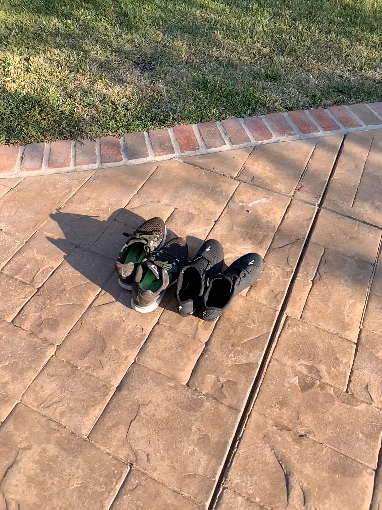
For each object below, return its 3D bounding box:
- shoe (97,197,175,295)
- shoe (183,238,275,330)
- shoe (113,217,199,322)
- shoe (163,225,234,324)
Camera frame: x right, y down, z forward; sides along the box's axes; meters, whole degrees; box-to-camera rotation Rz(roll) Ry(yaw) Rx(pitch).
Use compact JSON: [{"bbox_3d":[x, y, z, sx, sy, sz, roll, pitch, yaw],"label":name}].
[{"bbox_3d":[-0.162,-0.034,1.224,0.120,0.100,0.291,18,54,12],"label":"shoe"},{"bbox_3d":[0.114,0.077,1.133,0.100,0.060,0.290,37,60,24],"label":"shoe"},{"bbox_3d":[-0.095,0.036,1.164,0.120,0.100,0.291,22,55,15],"label":"shoe"},{"bbox_3d":[0.027,0.048,1.139,0.110,0.070,0.281,18,54,12],"label":"shoe"}]
